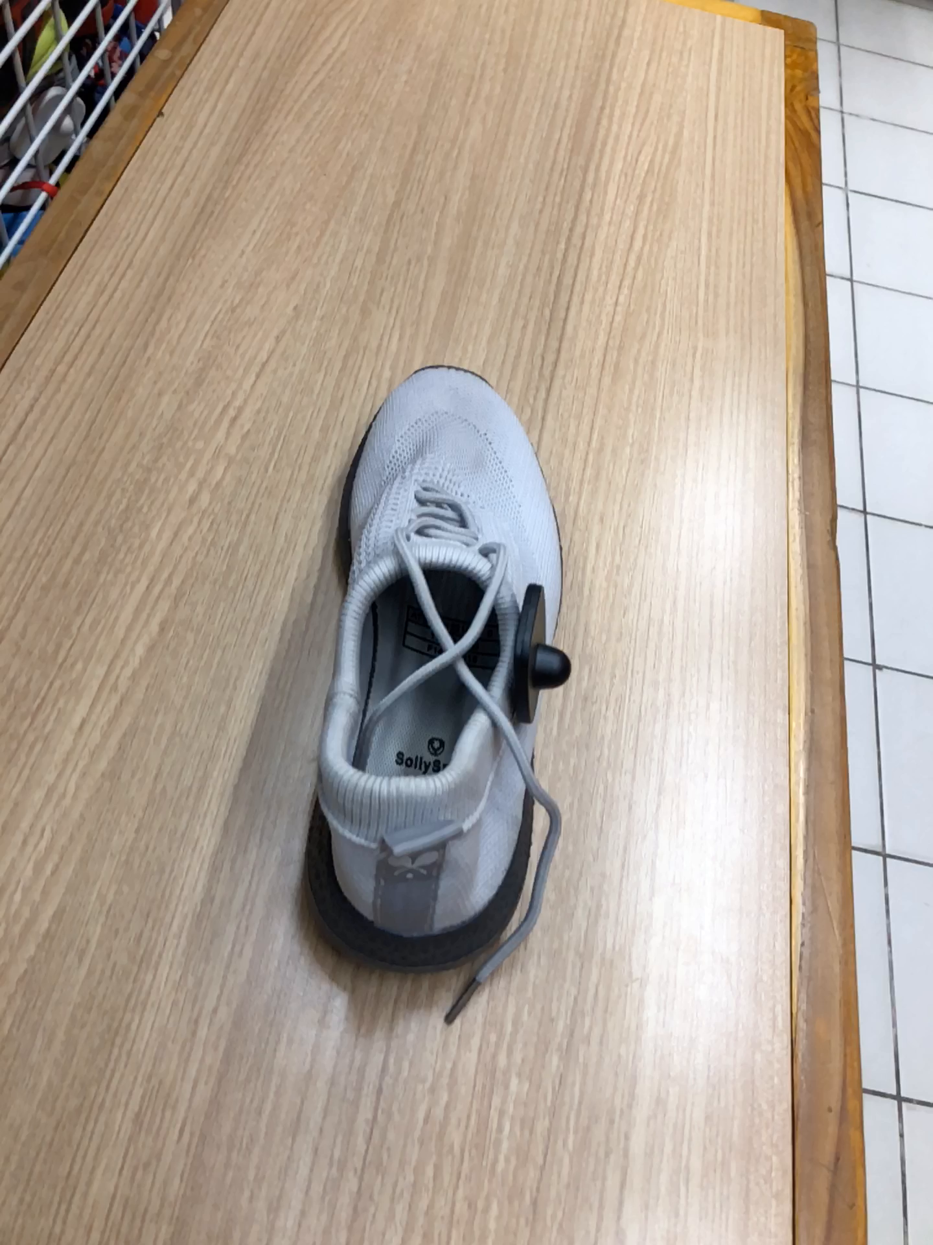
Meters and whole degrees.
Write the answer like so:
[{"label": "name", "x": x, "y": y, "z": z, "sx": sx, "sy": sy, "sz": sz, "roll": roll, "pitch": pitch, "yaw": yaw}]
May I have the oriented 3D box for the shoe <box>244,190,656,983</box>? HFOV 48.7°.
[{"label": "shoe", "x": -0.004, "y": -0.020, "z": 0.387, "sx": 0.106, "sy": 0.122, "sz": 0.266, "roll": 7, "pitch": 56, "yaw": -5}]
